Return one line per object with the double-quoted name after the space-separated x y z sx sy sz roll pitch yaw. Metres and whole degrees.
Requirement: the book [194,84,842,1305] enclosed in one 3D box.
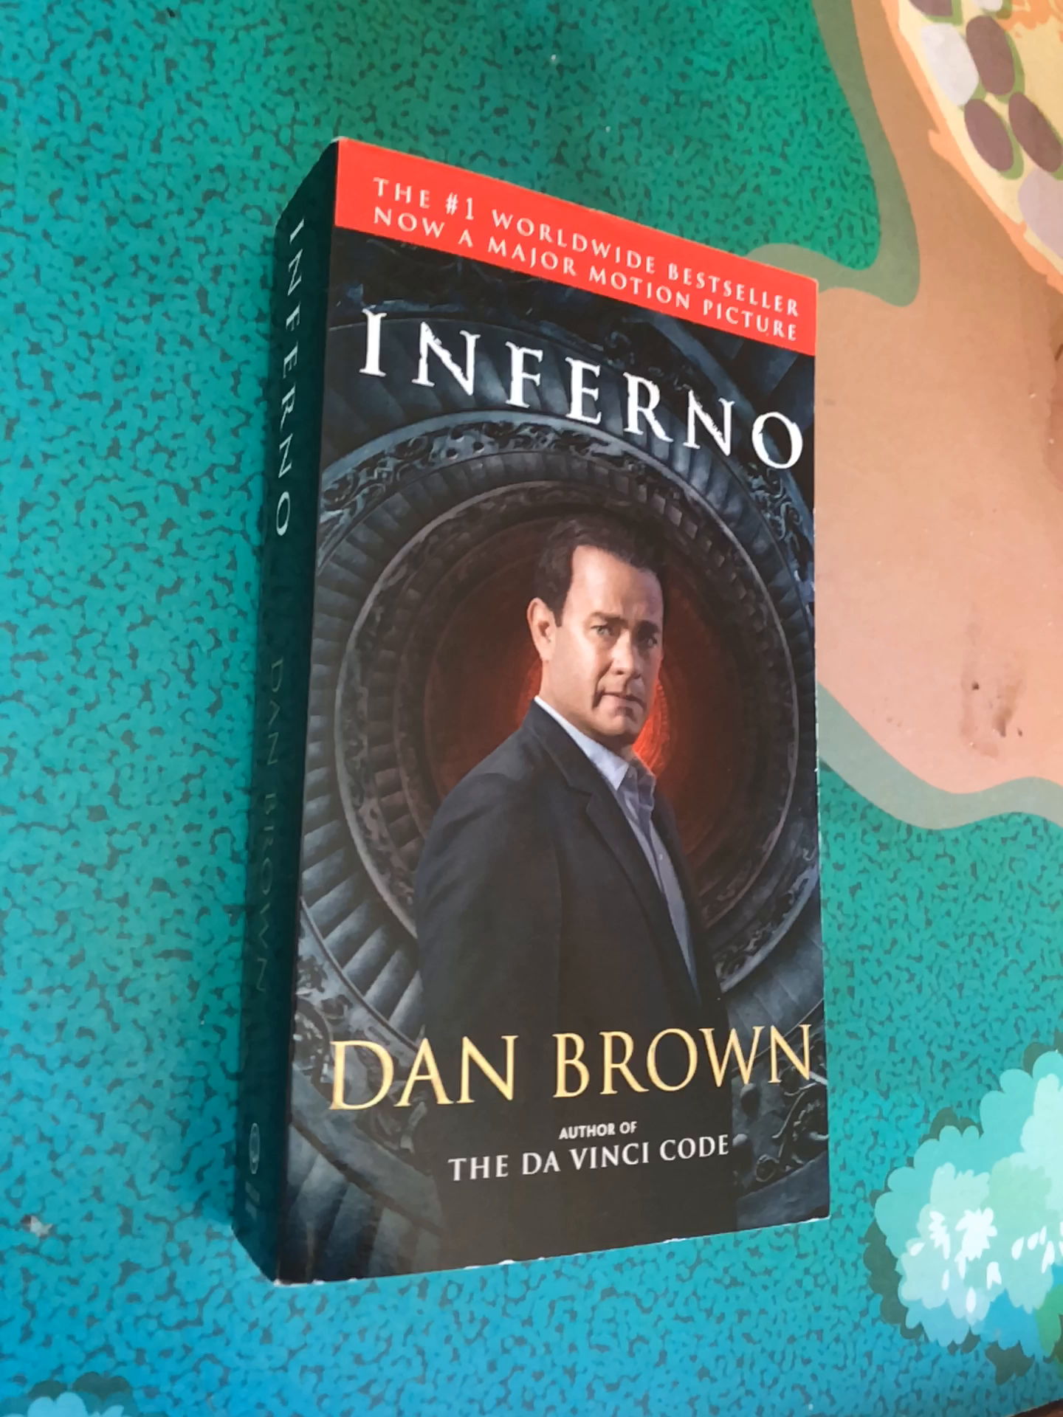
0.000 -0.001 0.243 0.110 0.060 0.200 6 80 -28 "book"
